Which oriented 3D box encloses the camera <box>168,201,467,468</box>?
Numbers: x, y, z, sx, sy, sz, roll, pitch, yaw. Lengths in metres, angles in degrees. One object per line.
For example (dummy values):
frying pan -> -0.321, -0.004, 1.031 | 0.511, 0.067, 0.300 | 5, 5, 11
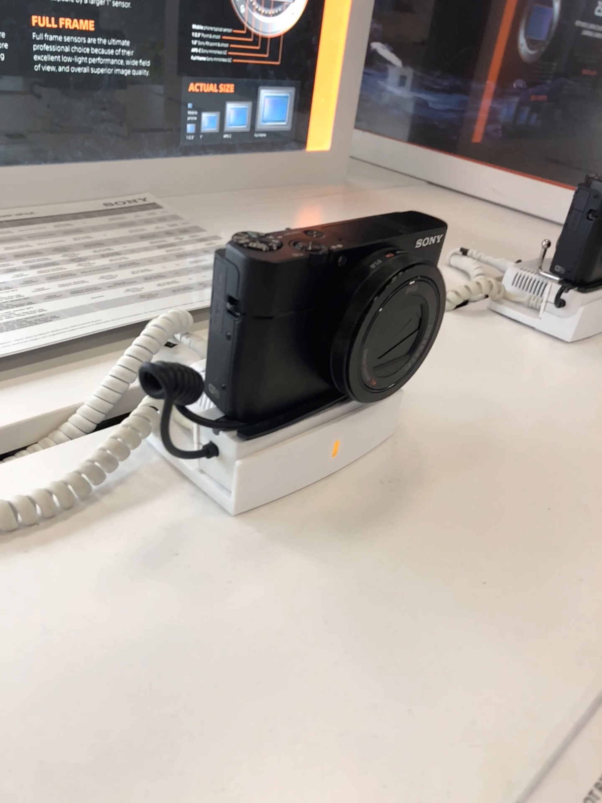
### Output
camera -> 0.008, -0.030, 0.247 | 0.030, 0.070, 0.110 | 36, 39, 30
